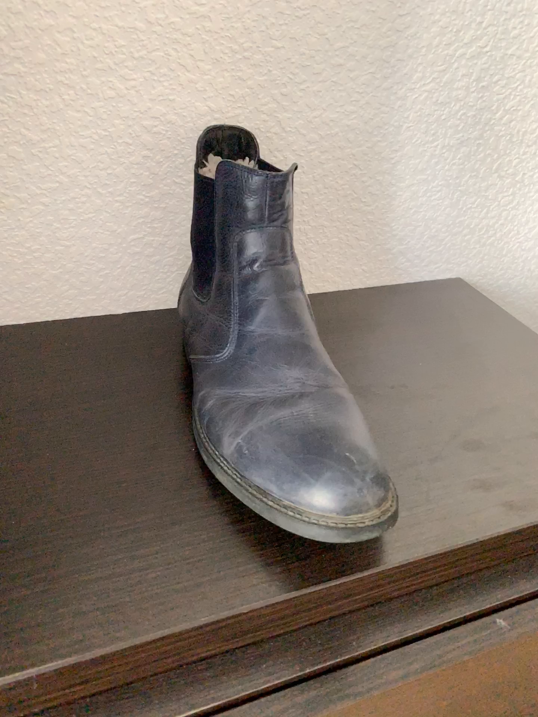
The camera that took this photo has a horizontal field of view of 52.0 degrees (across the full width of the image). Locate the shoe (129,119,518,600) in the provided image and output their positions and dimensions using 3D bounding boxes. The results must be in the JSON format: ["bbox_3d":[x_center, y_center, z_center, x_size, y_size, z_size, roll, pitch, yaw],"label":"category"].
[{"bbox_3d":[-0.010,-0.037,0.360,0.110,0.159,0.301,-7,36,-18],"label":"shoe"}]
